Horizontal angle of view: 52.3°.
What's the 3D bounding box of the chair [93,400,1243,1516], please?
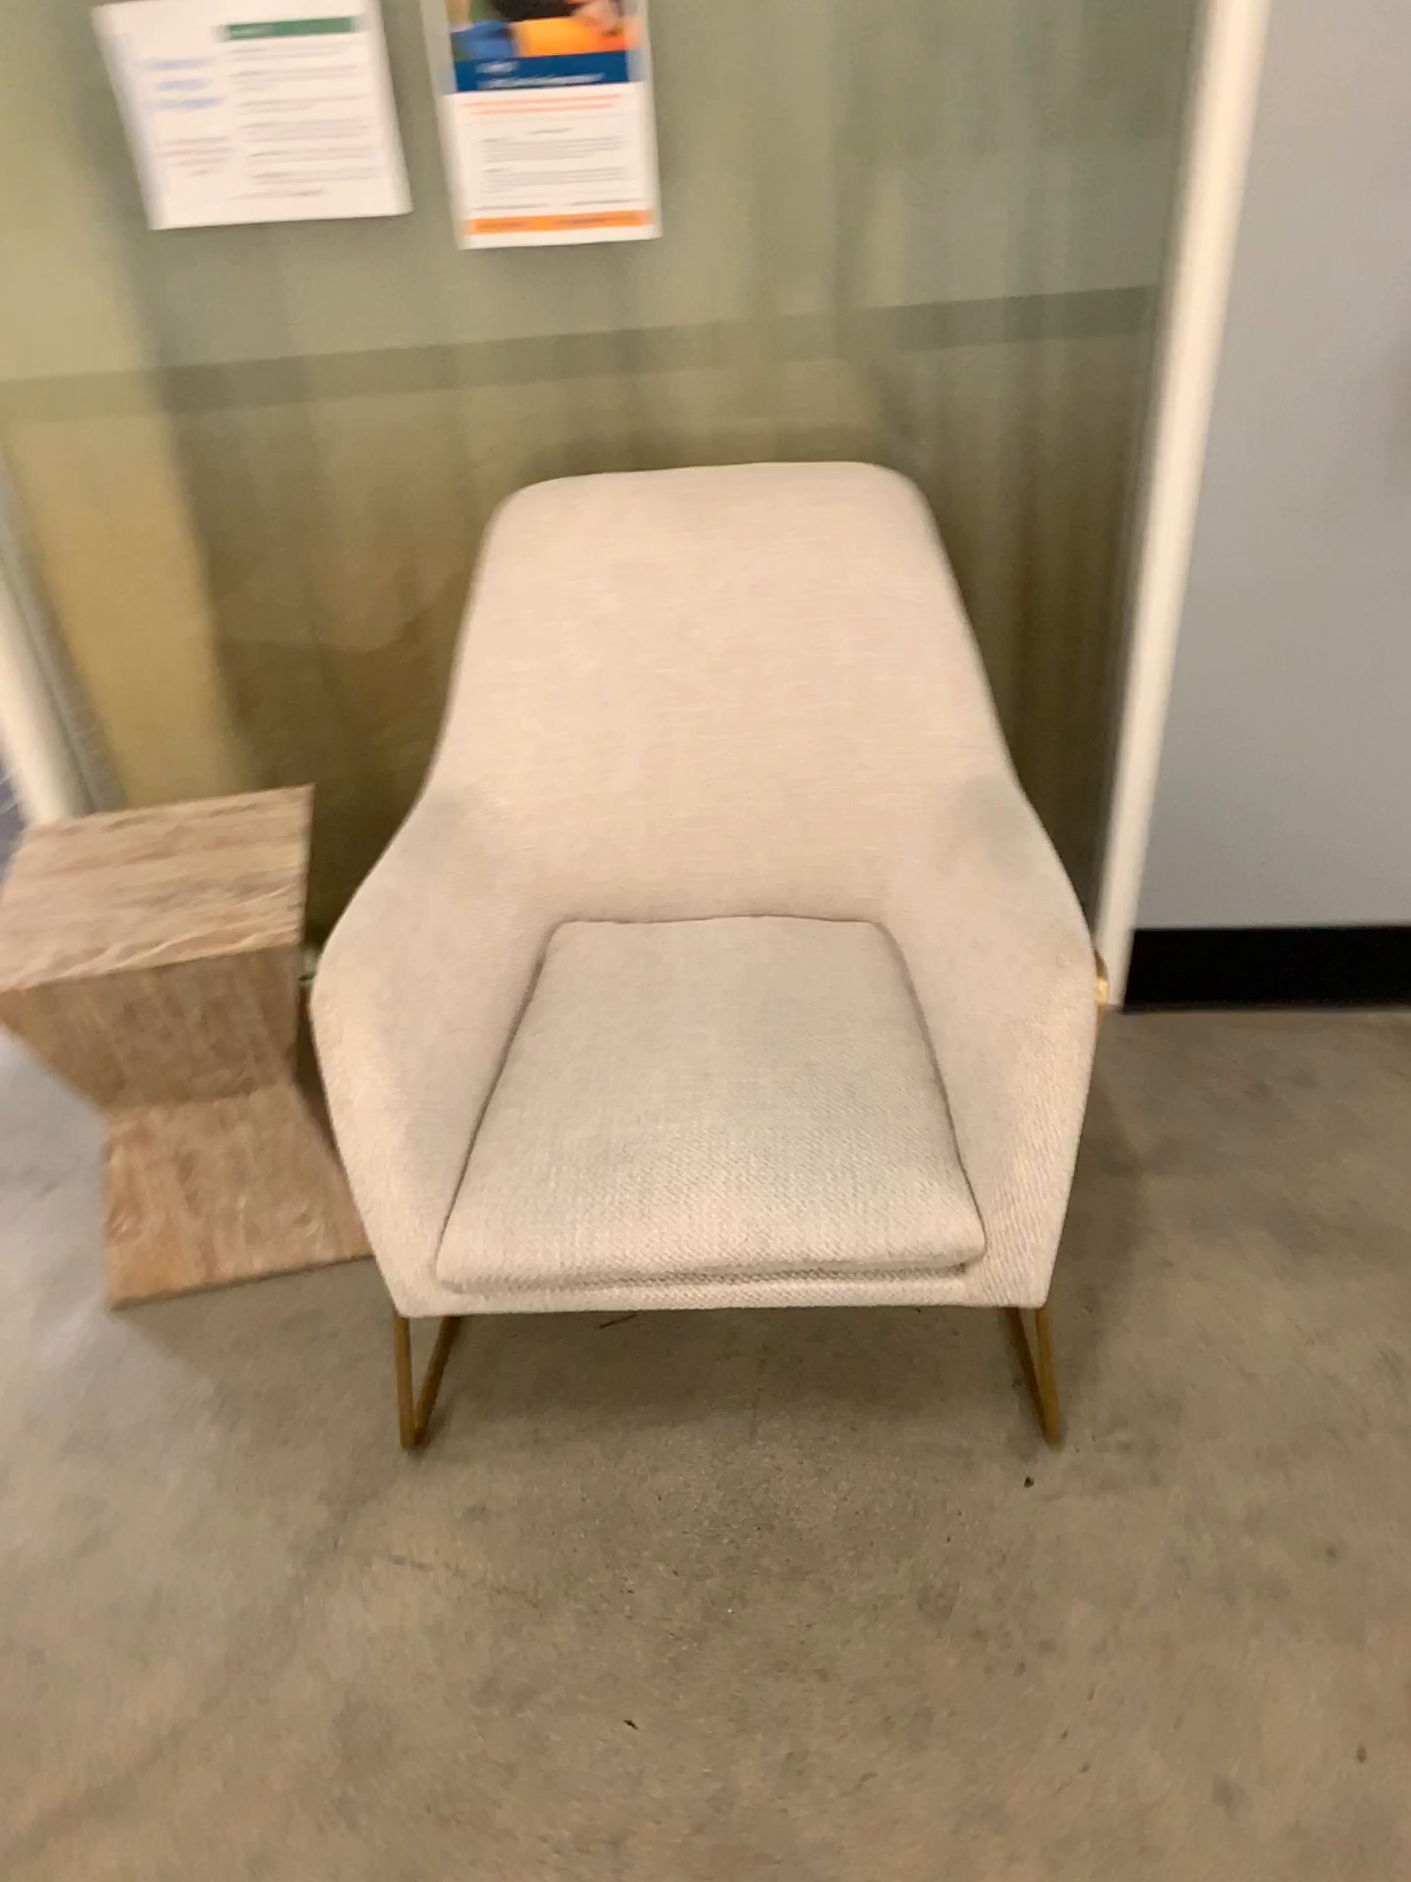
[{"bbox_3d":[-0.009,0.002,1.540,0.780,0.865,0.774,-3,37,2],"label":"chair"}]
